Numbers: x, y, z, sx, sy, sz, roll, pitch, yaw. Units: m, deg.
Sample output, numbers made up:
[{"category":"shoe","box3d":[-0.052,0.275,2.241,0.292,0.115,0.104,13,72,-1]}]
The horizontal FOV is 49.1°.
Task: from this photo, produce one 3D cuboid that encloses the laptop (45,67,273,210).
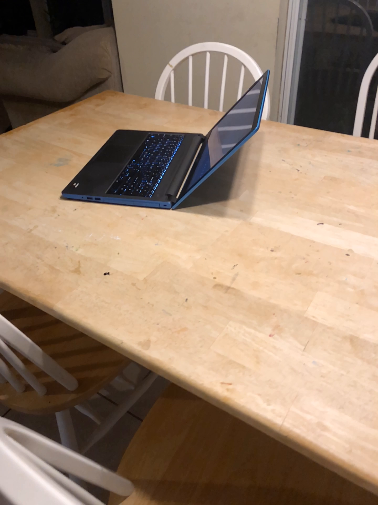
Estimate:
[{"category":"laptop","box3d":[-0.034,-0.287,0.965,0.418,0.174,0.369,6,38,11]}]
